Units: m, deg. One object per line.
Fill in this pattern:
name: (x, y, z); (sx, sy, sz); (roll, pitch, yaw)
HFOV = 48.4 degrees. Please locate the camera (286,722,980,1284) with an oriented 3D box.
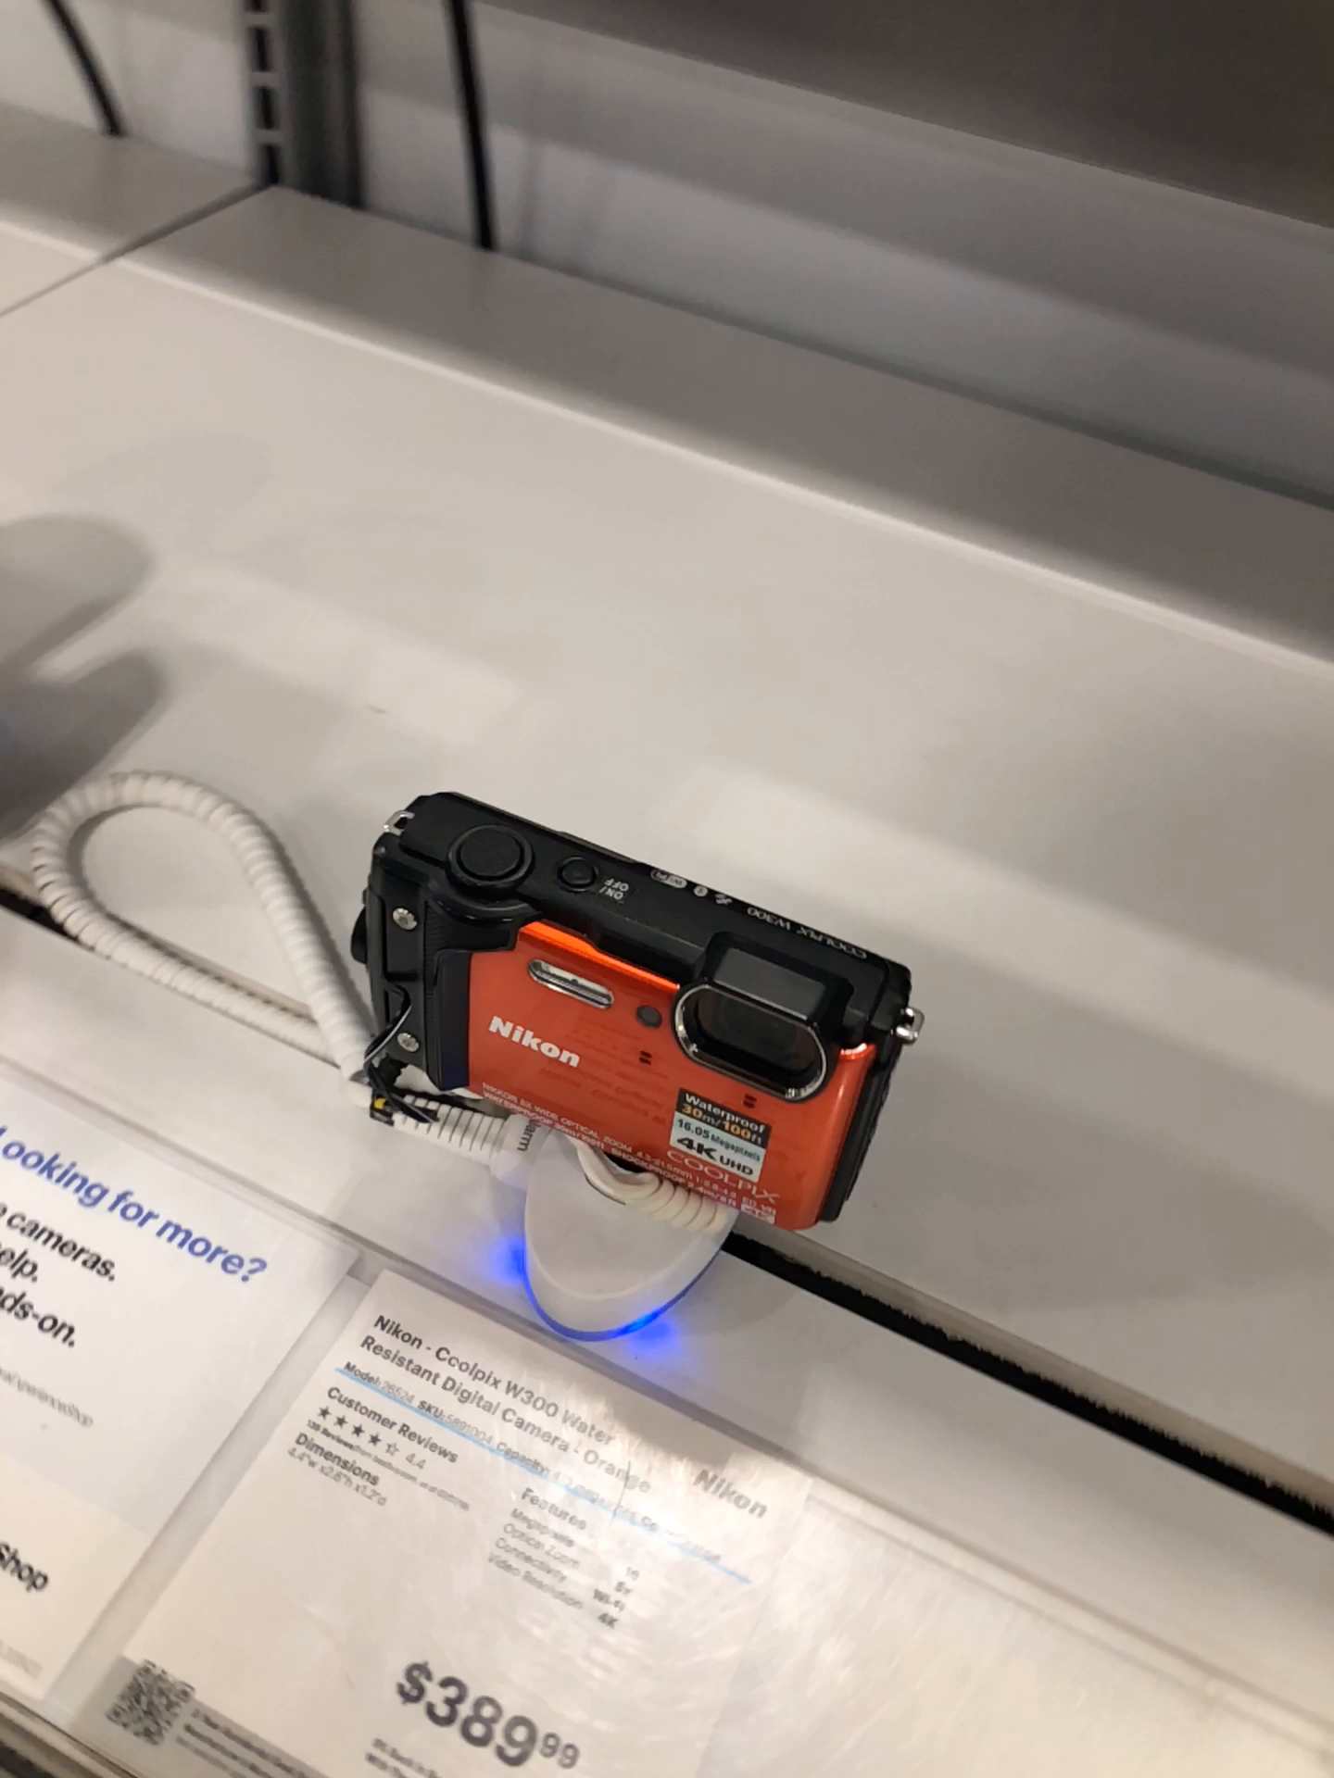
camera: (-0.009, 0.021, 0.289); (0.120, 0.060, 0.040); (21, 46, 13)
